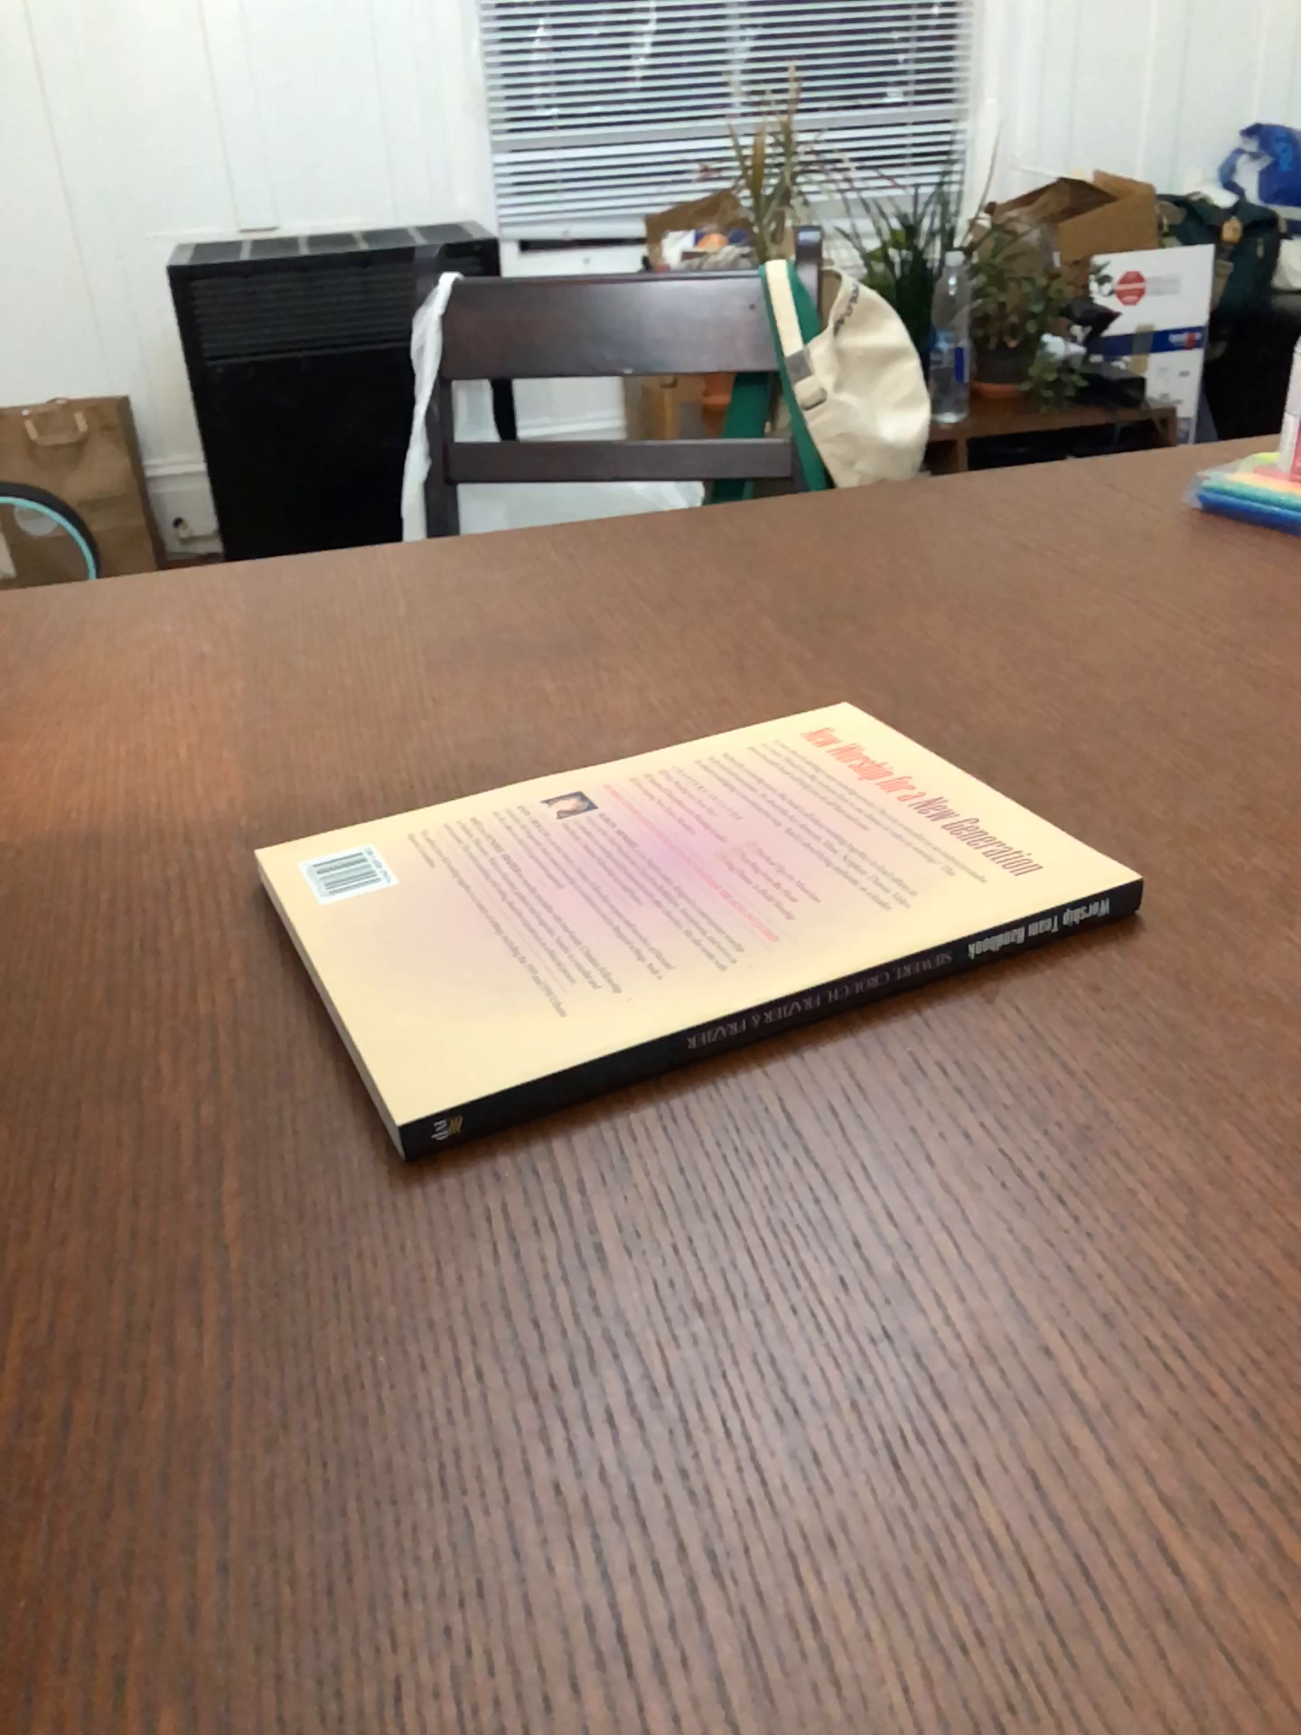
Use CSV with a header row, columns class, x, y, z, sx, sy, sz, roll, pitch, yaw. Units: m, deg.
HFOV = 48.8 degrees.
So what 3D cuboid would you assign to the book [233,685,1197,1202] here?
class,x,y,z,sx,sy,sz,roll,pitch,yaw
book,0.013,0.004,0.493,0.270,0.020,0.191,-16,31,-21
